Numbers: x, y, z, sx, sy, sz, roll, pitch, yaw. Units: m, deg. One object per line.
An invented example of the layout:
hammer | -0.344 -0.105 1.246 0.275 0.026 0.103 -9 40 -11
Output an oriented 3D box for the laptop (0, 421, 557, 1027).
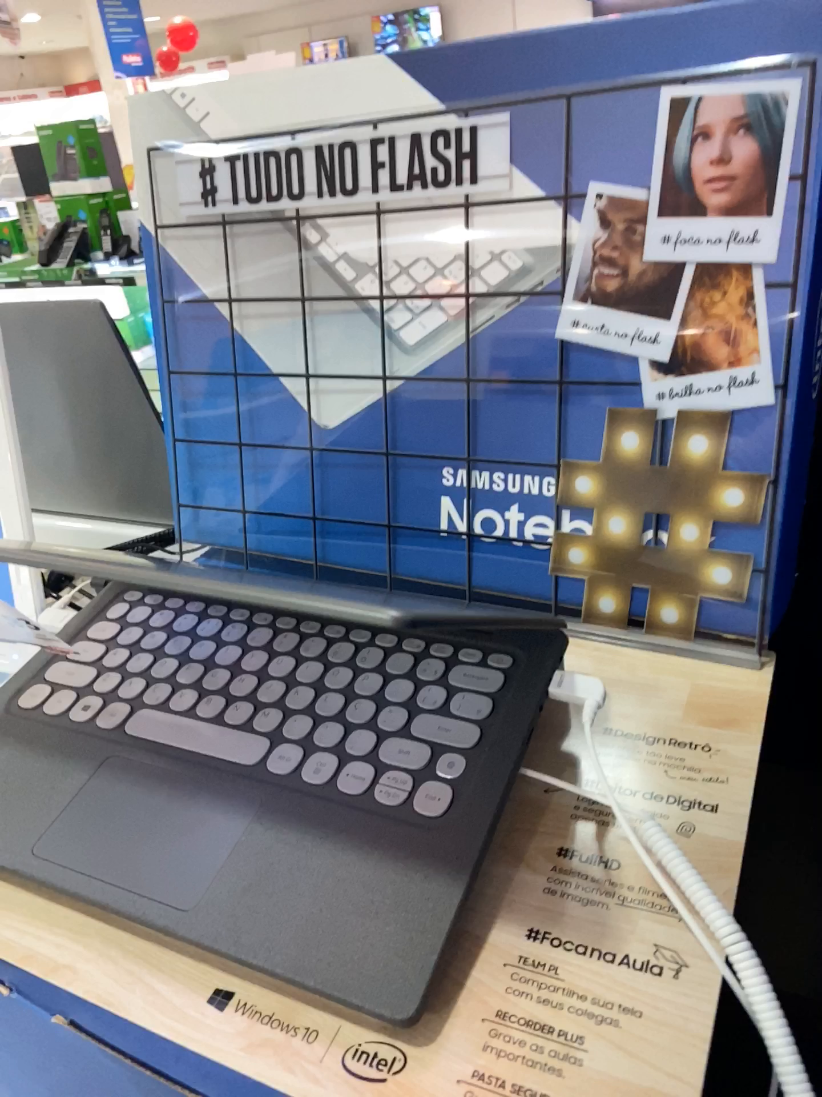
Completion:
laptop | -0.113 0.048 0.434 0.323 0.114 0.211 6 38 26
